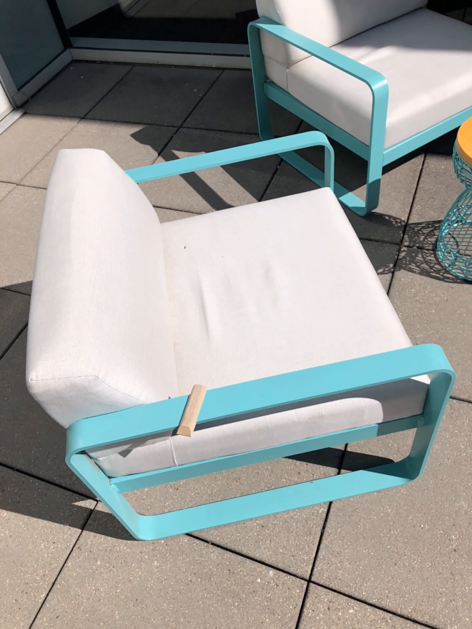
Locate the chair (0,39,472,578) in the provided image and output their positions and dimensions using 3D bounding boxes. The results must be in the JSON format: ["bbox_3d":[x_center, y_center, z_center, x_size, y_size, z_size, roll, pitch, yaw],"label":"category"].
[{"bbox_3d":[-0.050,-0.028,1.318,0.870,0.767,0.903,-14,49,-2],"label":"chair"}]
